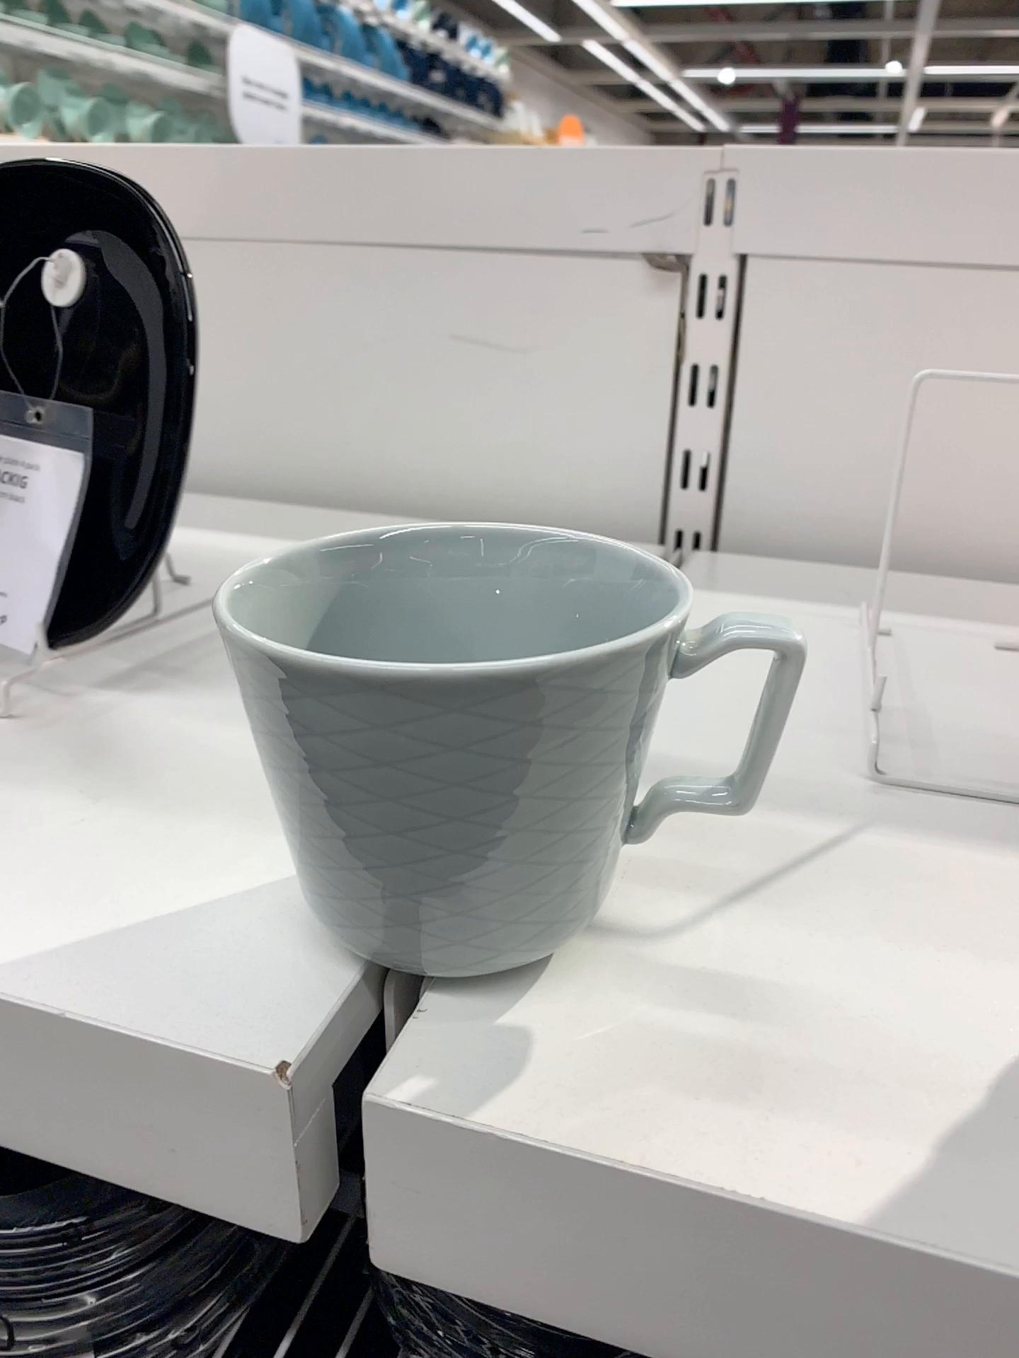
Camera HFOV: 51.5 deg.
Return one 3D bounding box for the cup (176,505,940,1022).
[{"bbox_3d":[0.002,0.008,0.234,0.130,0.070,0.100,-2,22,-10],"label":"cup"}]
